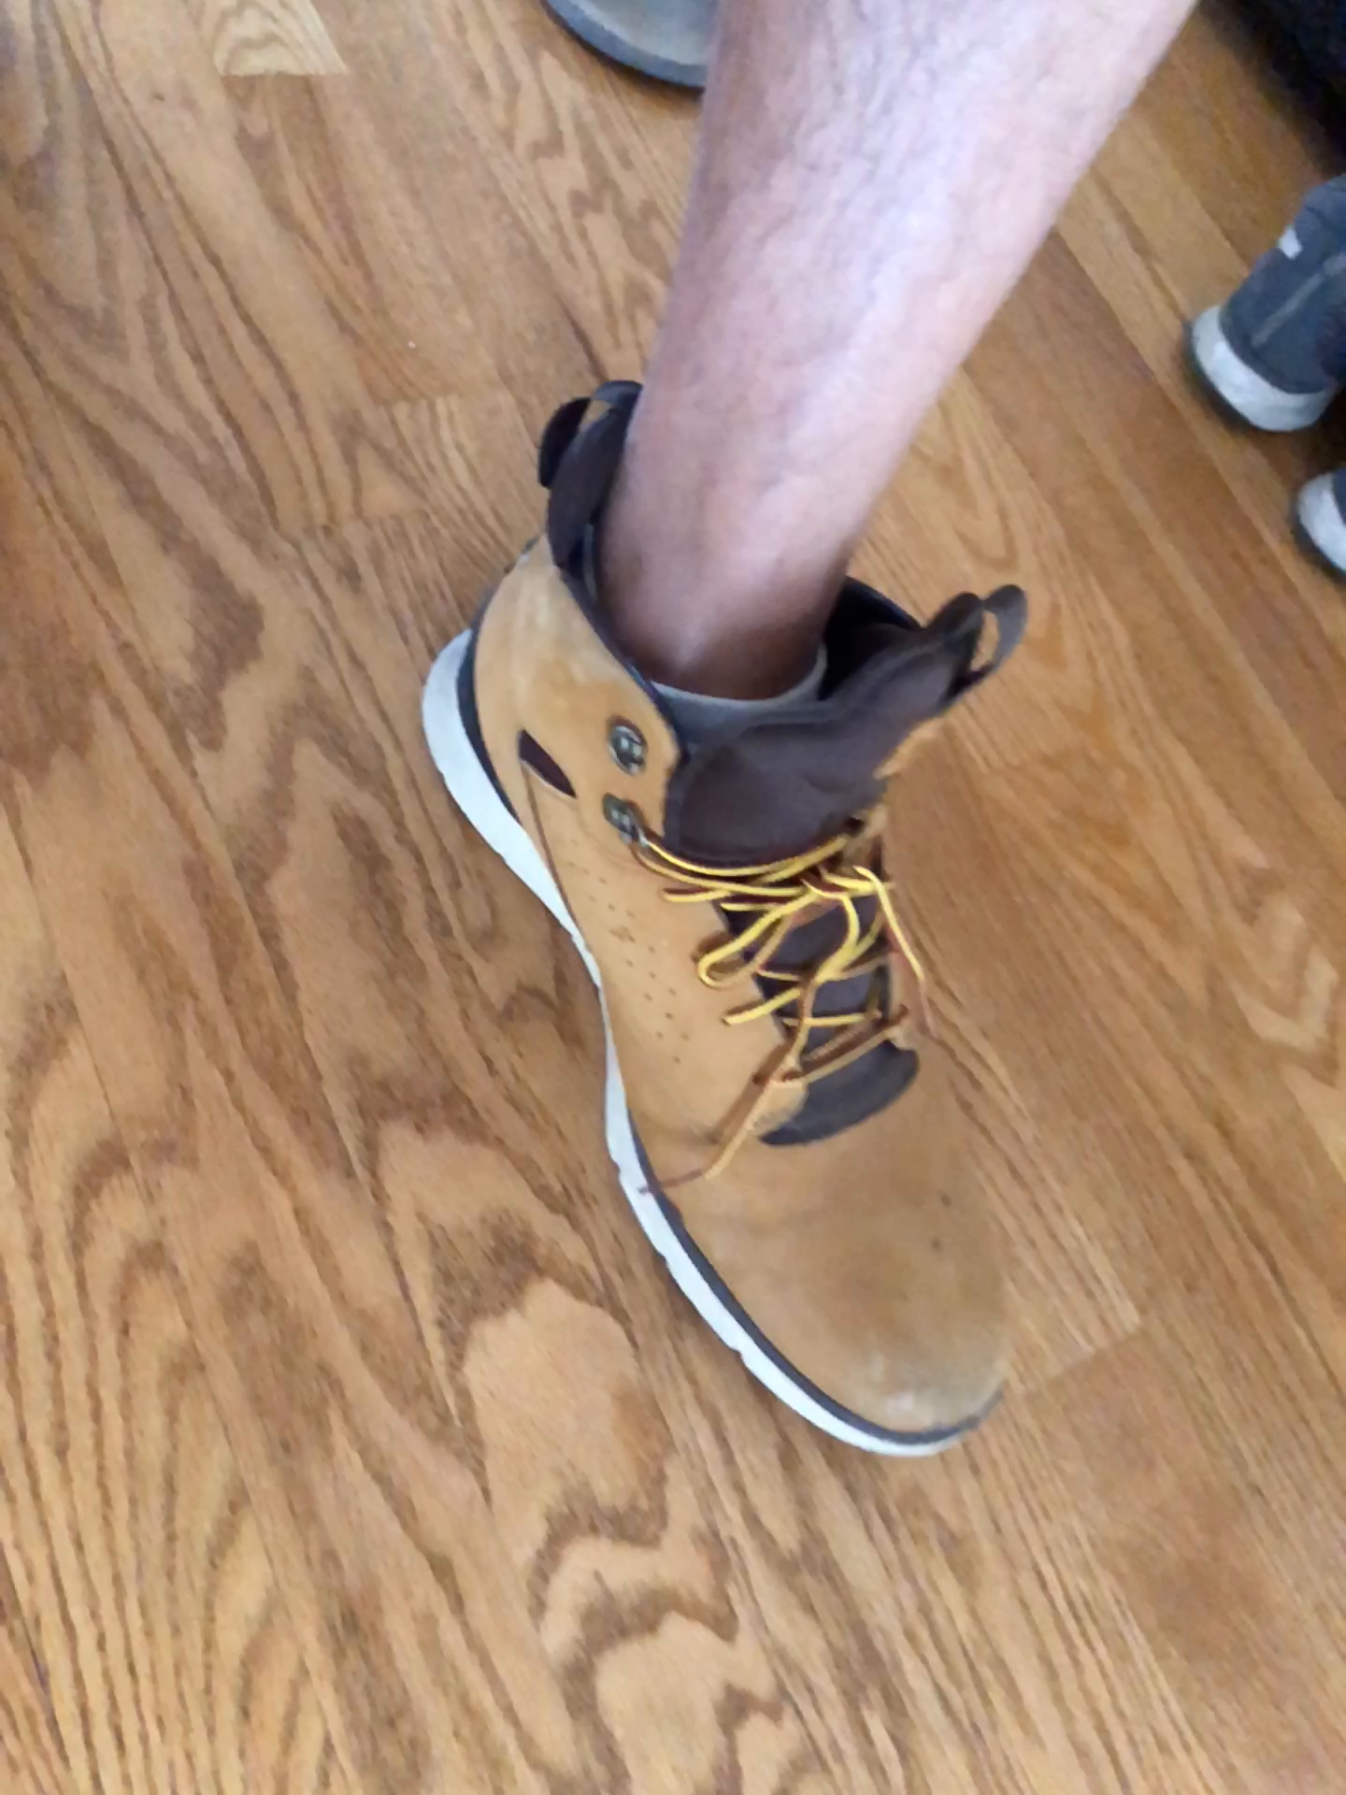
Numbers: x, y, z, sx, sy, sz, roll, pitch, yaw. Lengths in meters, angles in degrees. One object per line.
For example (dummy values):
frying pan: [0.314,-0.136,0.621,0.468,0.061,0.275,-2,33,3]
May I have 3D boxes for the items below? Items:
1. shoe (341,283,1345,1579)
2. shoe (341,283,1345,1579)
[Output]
shoe: [0.038,0.004,0.416,0.130,0.139,0.310,-19,73,-29]
shoe: [0.038,0.004,0.416,0.130,0.139,0.310,-19,73,-29]
